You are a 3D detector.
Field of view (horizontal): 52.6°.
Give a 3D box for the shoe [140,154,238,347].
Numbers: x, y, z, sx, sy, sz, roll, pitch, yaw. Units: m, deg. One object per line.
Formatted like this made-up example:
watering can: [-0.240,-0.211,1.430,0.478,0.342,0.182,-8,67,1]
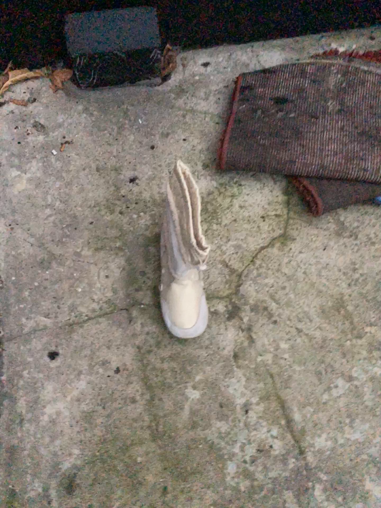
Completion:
shoe: [-0.009,0.017,0.744,0.120,0.309,0.271,-7,70,-3]
